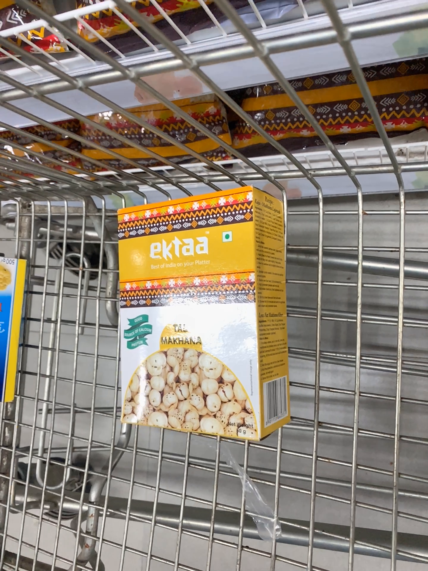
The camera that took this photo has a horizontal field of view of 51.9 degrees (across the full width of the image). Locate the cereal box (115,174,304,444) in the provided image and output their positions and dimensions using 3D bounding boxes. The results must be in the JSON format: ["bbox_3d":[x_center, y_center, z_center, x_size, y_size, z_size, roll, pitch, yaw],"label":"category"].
[{"bbox_3d":[-0.005,0.018,0.357,0.131,0.070,0.180,-3,88,31],"label":"cereal box"}]
